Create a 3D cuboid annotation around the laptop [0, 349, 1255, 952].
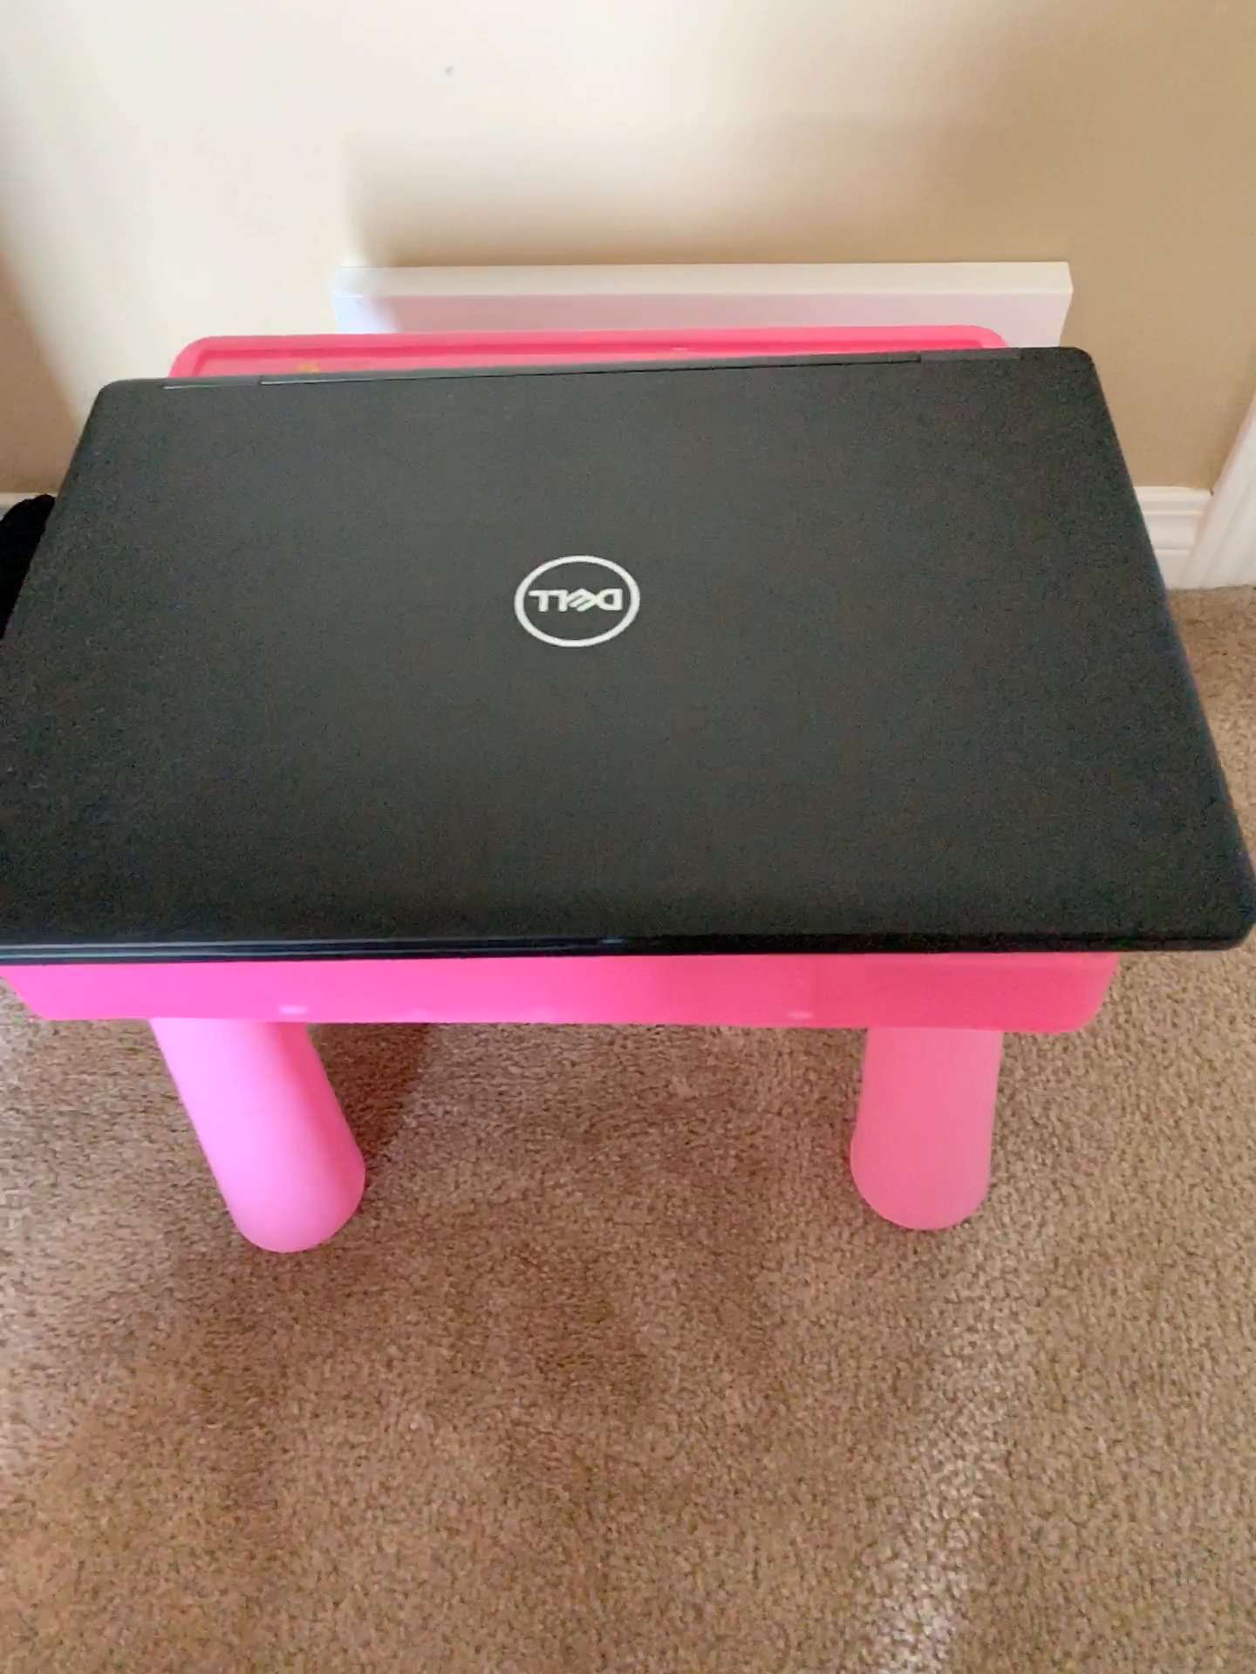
[{"bbox_3d":[-0.017,-0.073,0.410,0.366,0.005,0.241,-1,56,3],"label":"laptop"}]
